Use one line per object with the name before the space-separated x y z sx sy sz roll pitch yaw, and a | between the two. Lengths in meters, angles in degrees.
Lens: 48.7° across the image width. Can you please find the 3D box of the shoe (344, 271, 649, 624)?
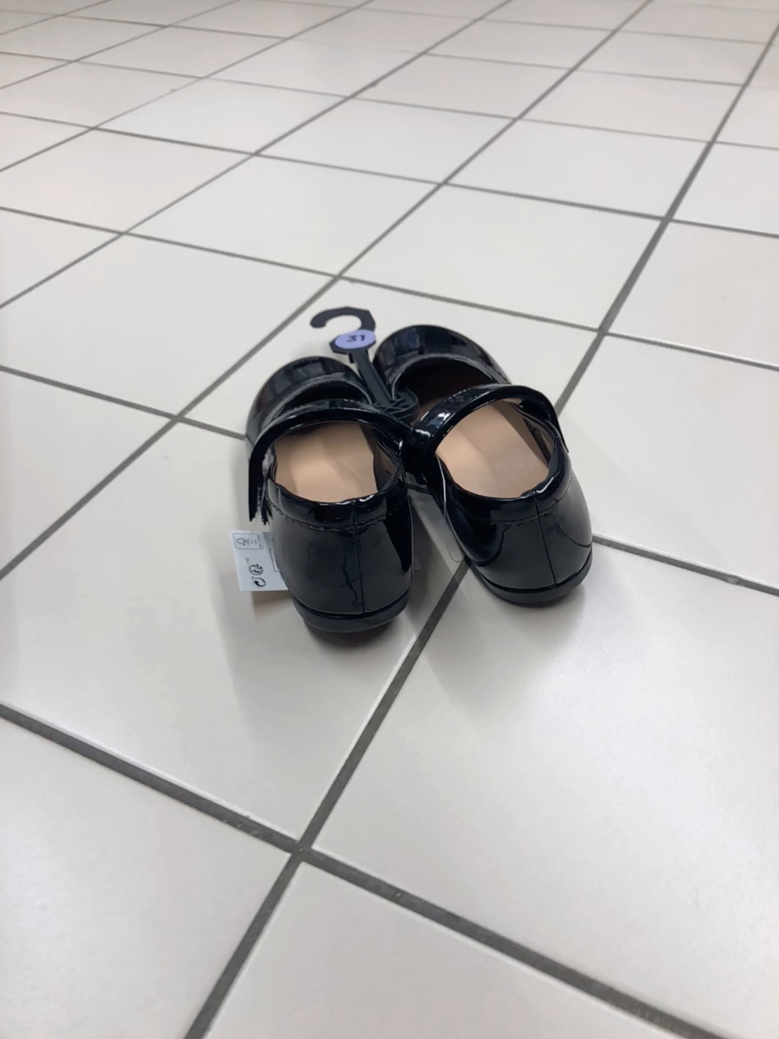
shoe | 0.040 -0.049 0.429 0.079 0.056 0.205 -11 42 -10

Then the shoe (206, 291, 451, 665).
shoe | -0.038 -0.034 0.417 0.079 0.052 0.211 -10 42 -9
